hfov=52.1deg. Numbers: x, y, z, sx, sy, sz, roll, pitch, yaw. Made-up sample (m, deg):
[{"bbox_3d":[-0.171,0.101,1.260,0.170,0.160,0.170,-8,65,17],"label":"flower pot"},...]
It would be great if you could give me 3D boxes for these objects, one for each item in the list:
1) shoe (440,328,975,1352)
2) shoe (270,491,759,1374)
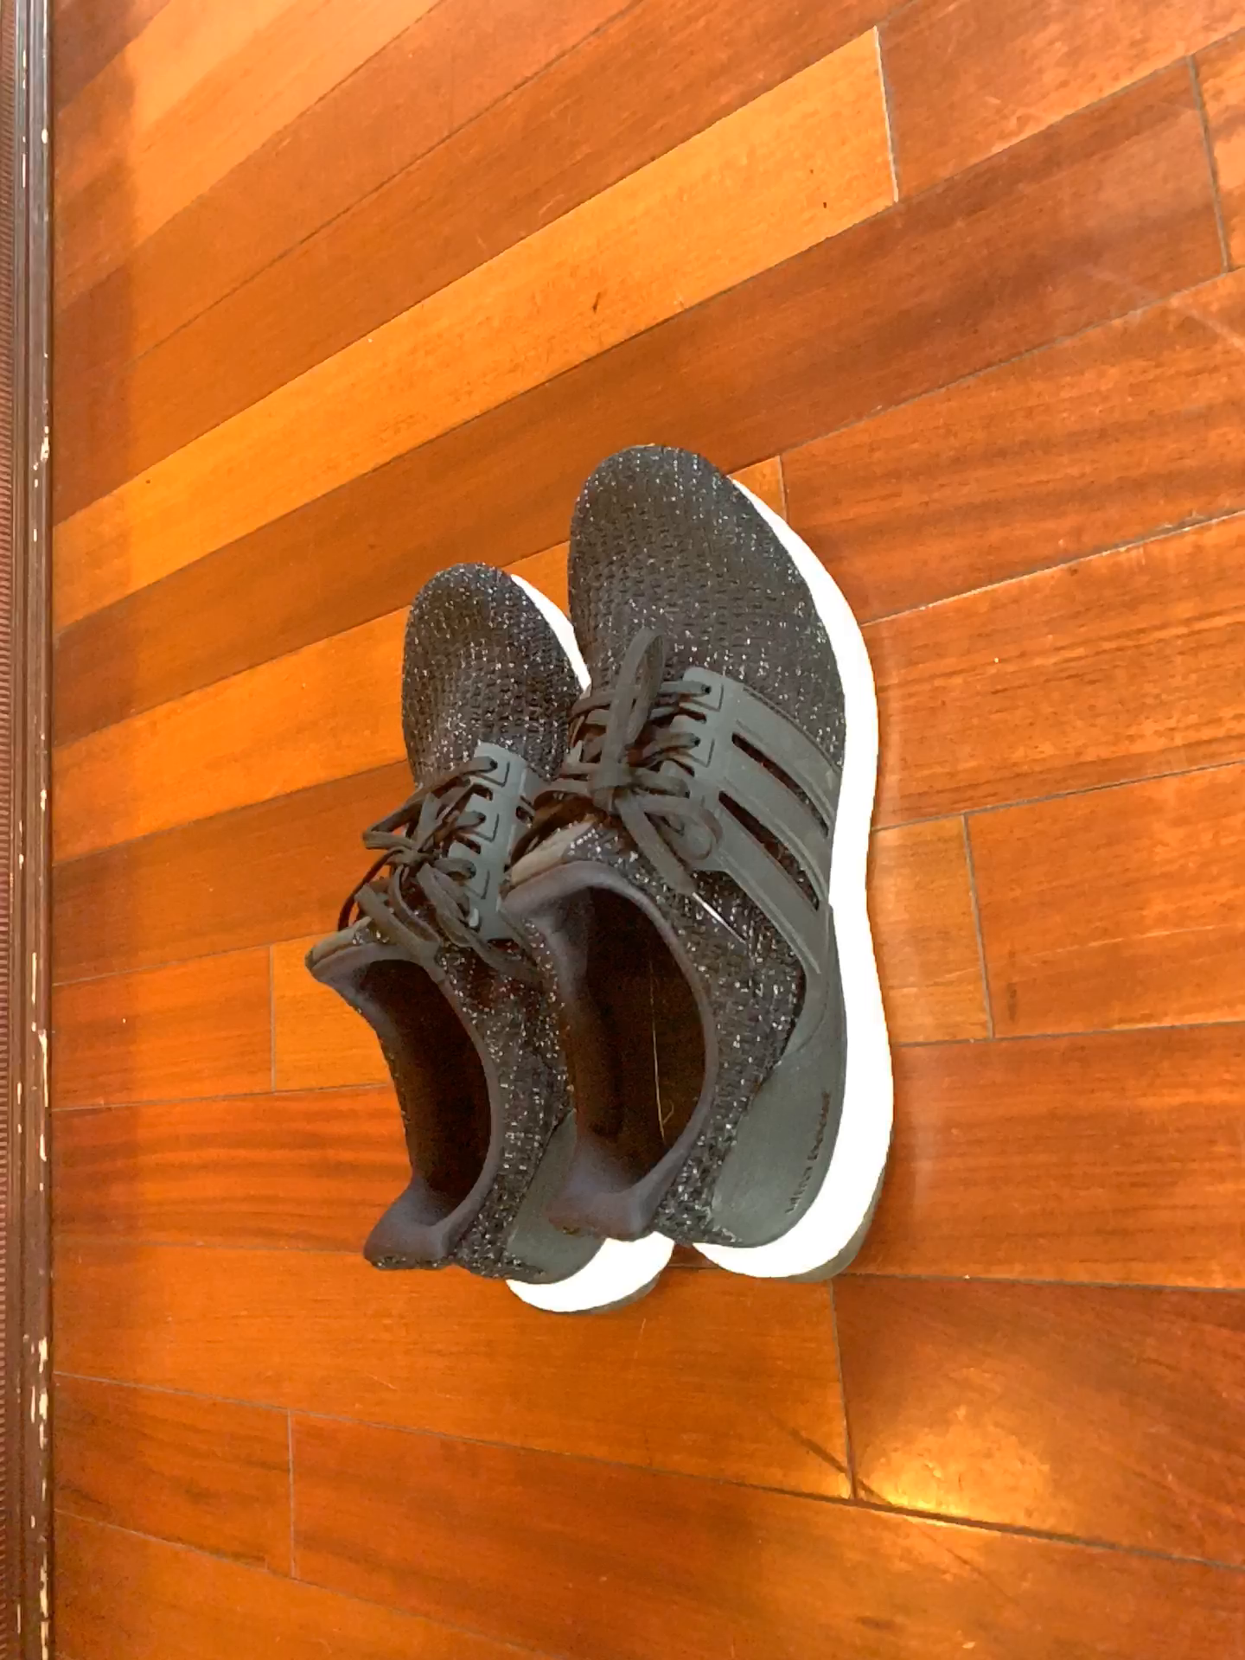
[{"bbox_3d":[0.024,0.007,0.425,0.111,0.099,0.290,-14,76,37],"label":"shoe"},{"bbox_3d":[-0.048,0.040,0.498,0.111,0.099,0.300,-20,73,35],"label":"shoe"}]
